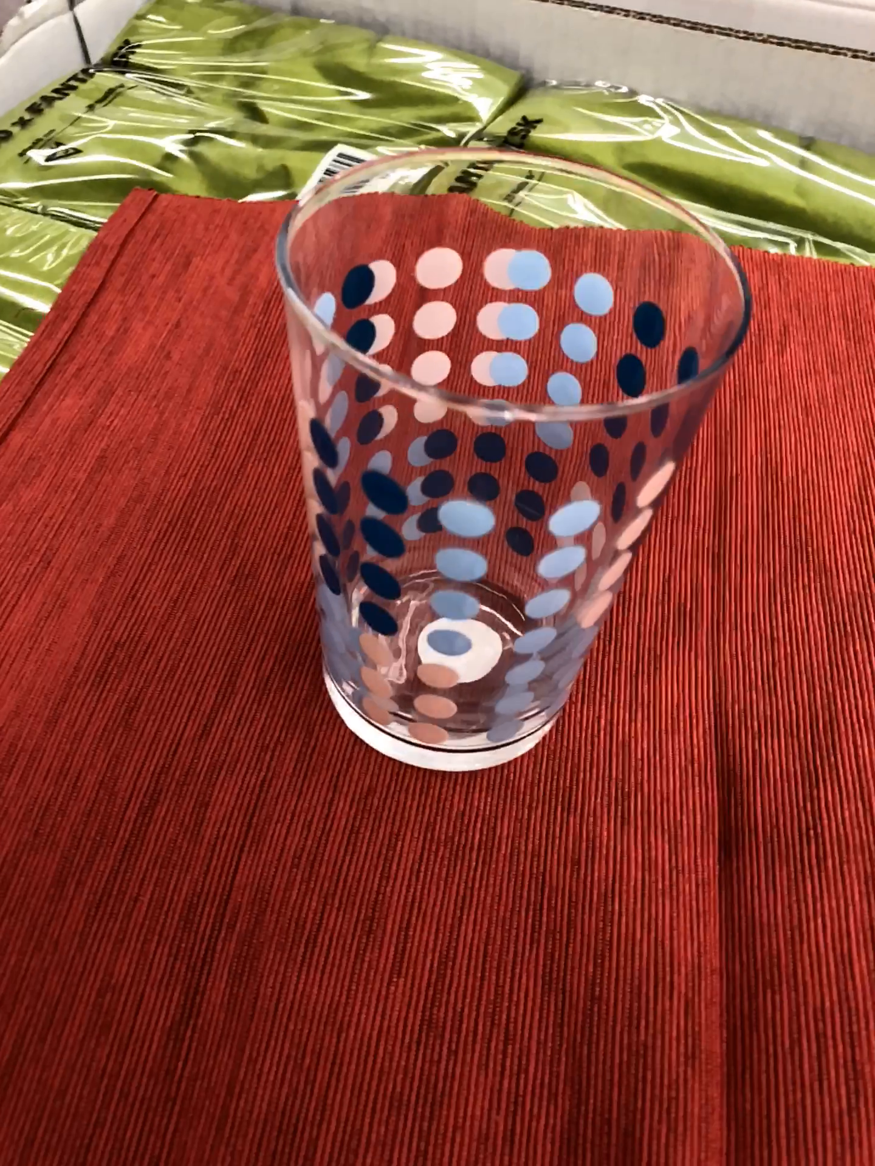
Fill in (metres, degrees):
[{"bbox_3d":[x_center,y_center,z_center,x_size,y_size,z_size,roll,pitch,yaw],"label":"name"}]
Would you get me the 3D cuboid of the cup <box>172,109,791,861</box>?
[{"bbox_3d":[0.011,-0.017,0.213,0.090,0.120,0.090,2,48,-2],"label":"cup"}]
